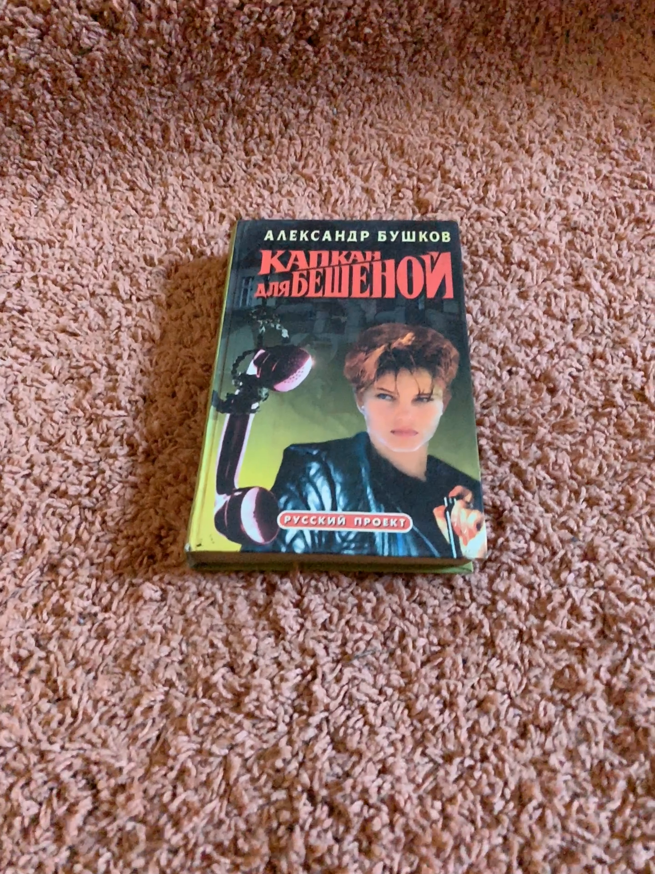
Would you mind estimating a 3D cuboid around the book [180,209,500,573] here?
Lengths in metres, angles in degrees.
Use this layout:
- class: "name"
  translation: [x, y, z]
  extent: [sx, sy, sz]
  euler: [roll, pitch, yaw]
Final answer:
- class: "book"
  translation: [0.008, -0.033, 0.322]
  extent: [0.124, 0.027, 0.191]
  euler: [1, 59, 2]
